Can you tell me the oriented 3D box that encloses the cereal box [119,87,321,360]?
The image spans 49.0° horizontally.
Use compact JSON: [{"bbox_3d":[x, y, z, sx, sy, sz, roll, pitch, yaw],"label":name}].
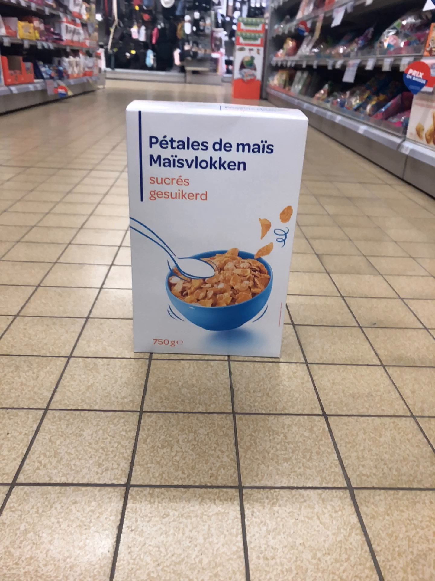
[{"bbox_3d":[-0.004,-0.078,0.582,0.200,0.298,0.111,3,24,-1],"label":"cereal box"}]
